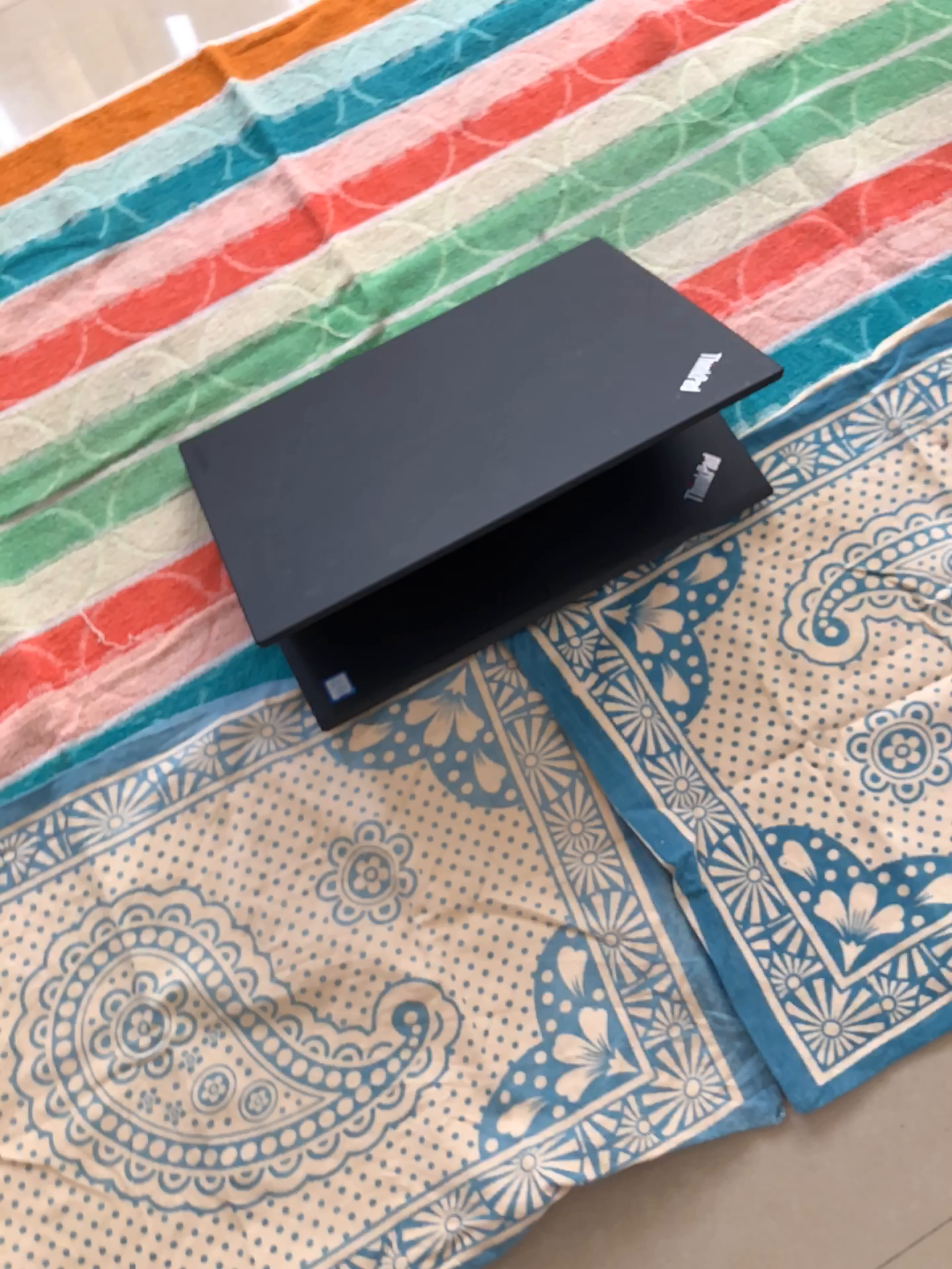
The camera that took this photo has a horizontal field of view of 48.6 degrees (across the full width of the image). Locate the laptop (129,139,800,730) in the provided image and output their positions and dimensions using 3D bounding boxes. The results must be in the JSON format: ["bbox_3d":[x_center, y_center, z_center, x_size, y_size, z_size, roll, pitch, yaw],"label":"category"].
[{"bbox_3d":[-0.009,-0.136,0.706,0.346,0.122,0.243,-28,71,-7],"label":"laptop"}]
